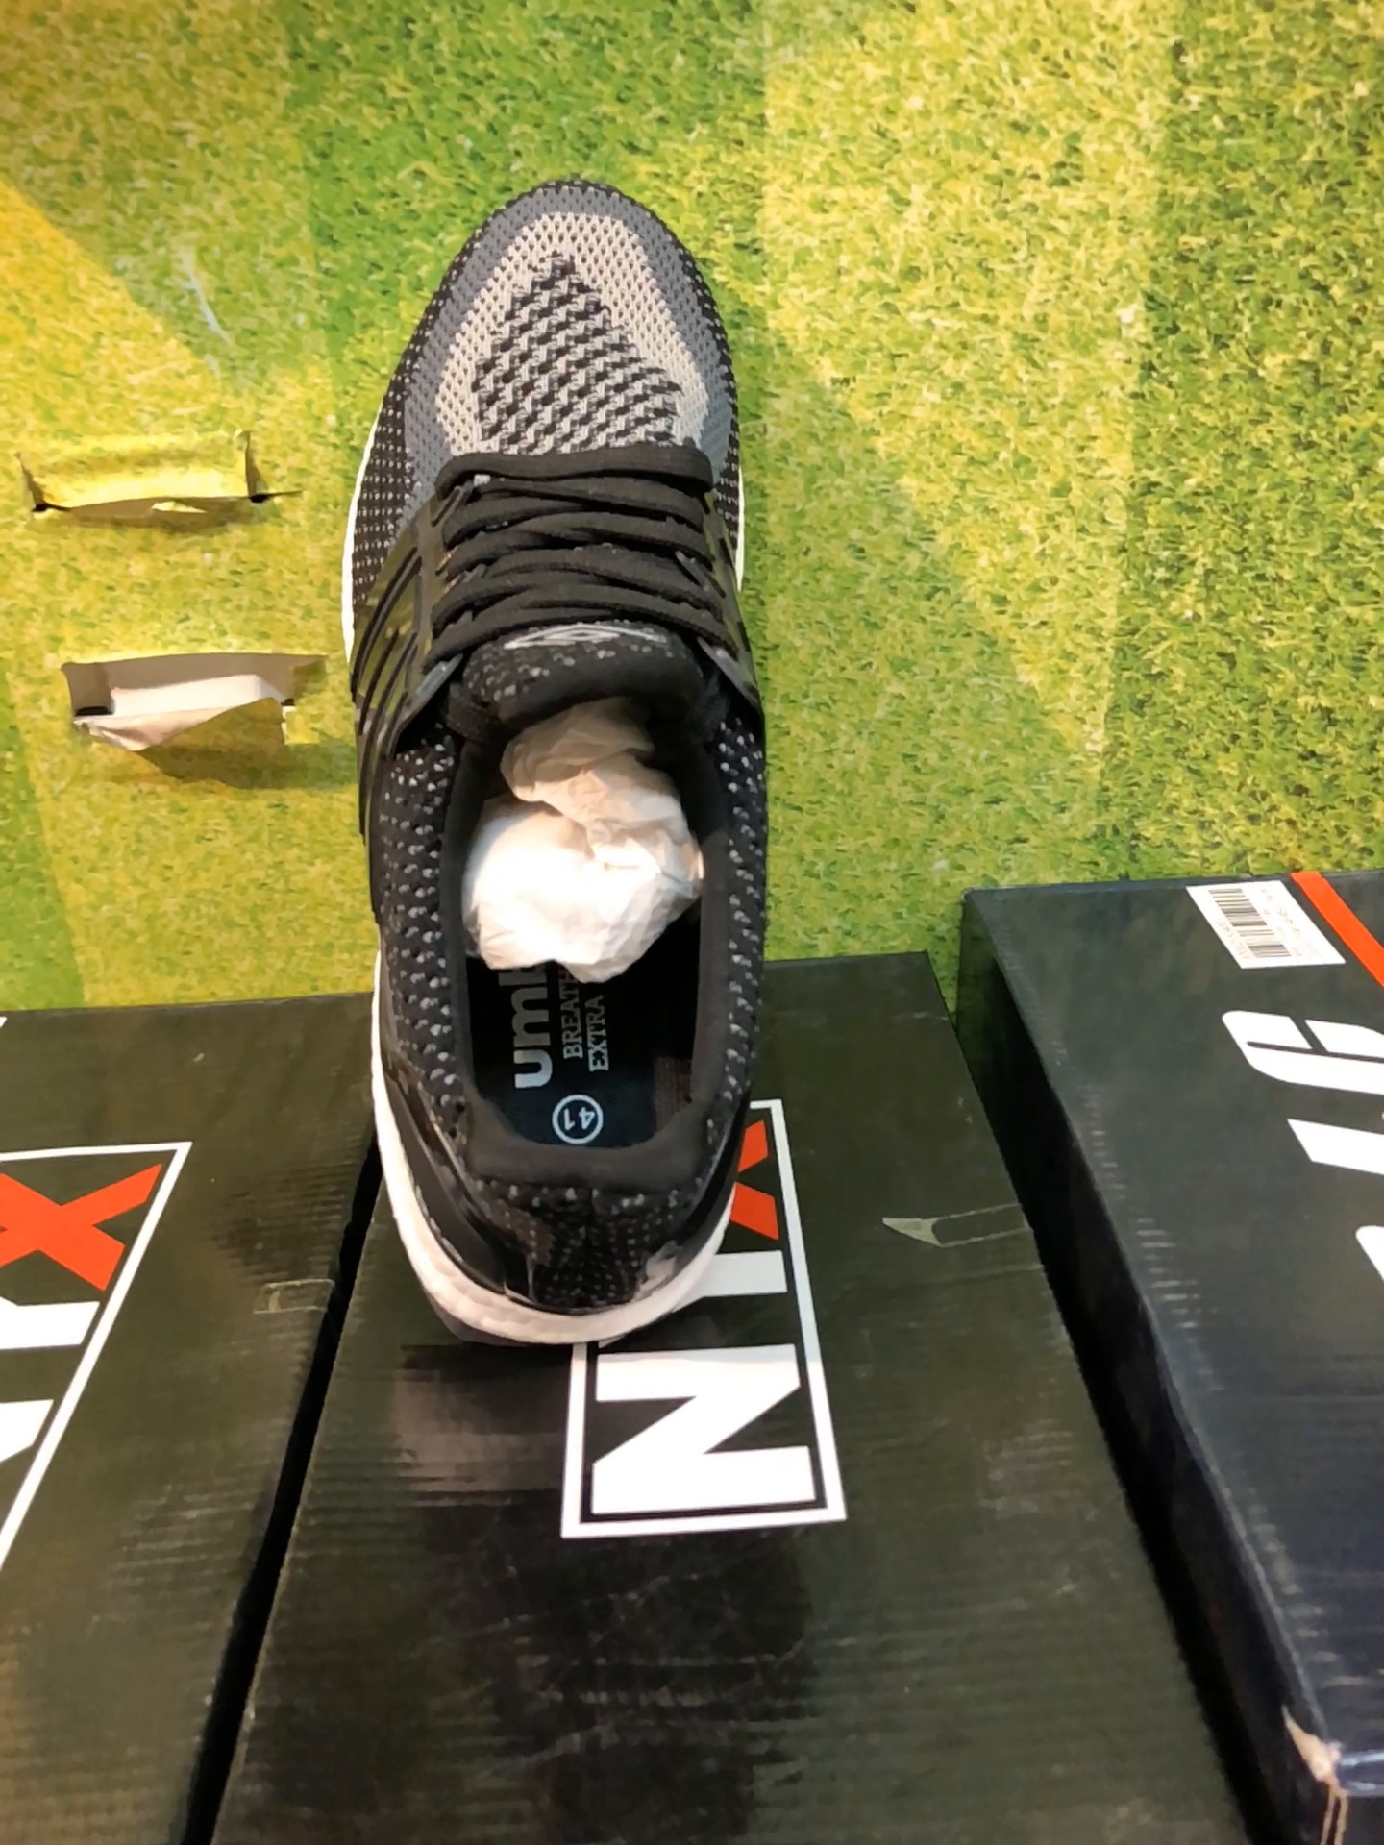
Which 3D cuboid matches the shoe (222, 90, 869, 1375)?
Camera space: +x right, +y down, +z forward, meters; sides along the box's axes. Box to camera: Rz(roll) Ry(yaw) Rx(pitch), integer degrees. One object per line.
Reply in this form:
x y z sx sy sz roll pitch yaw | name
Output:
-0.044 -0.040 0.365 0.111 0.121 0.270 2 68 -13 | shoe
